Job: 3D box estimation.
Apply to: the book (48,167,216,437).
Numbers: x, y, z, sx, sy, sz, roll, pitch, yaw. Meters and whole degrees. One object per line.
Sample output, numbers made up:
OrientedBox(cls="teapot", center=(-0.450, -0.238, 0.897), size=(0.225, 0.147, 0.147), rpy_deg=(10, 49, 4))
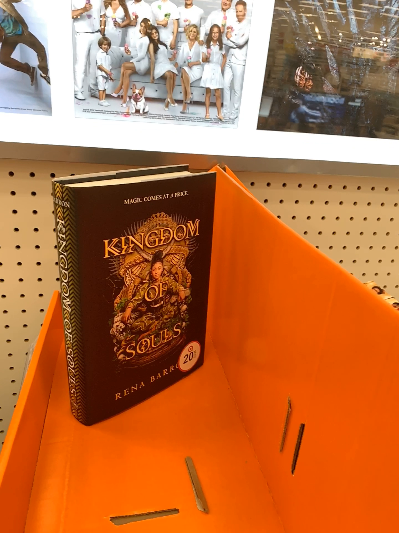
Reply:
OrientedBox(cls="book", center=(-0.059, 0.029, 0.422), size=(0.160, 0.240, 0.040), rpy_deg=(-17, 28, -41))
